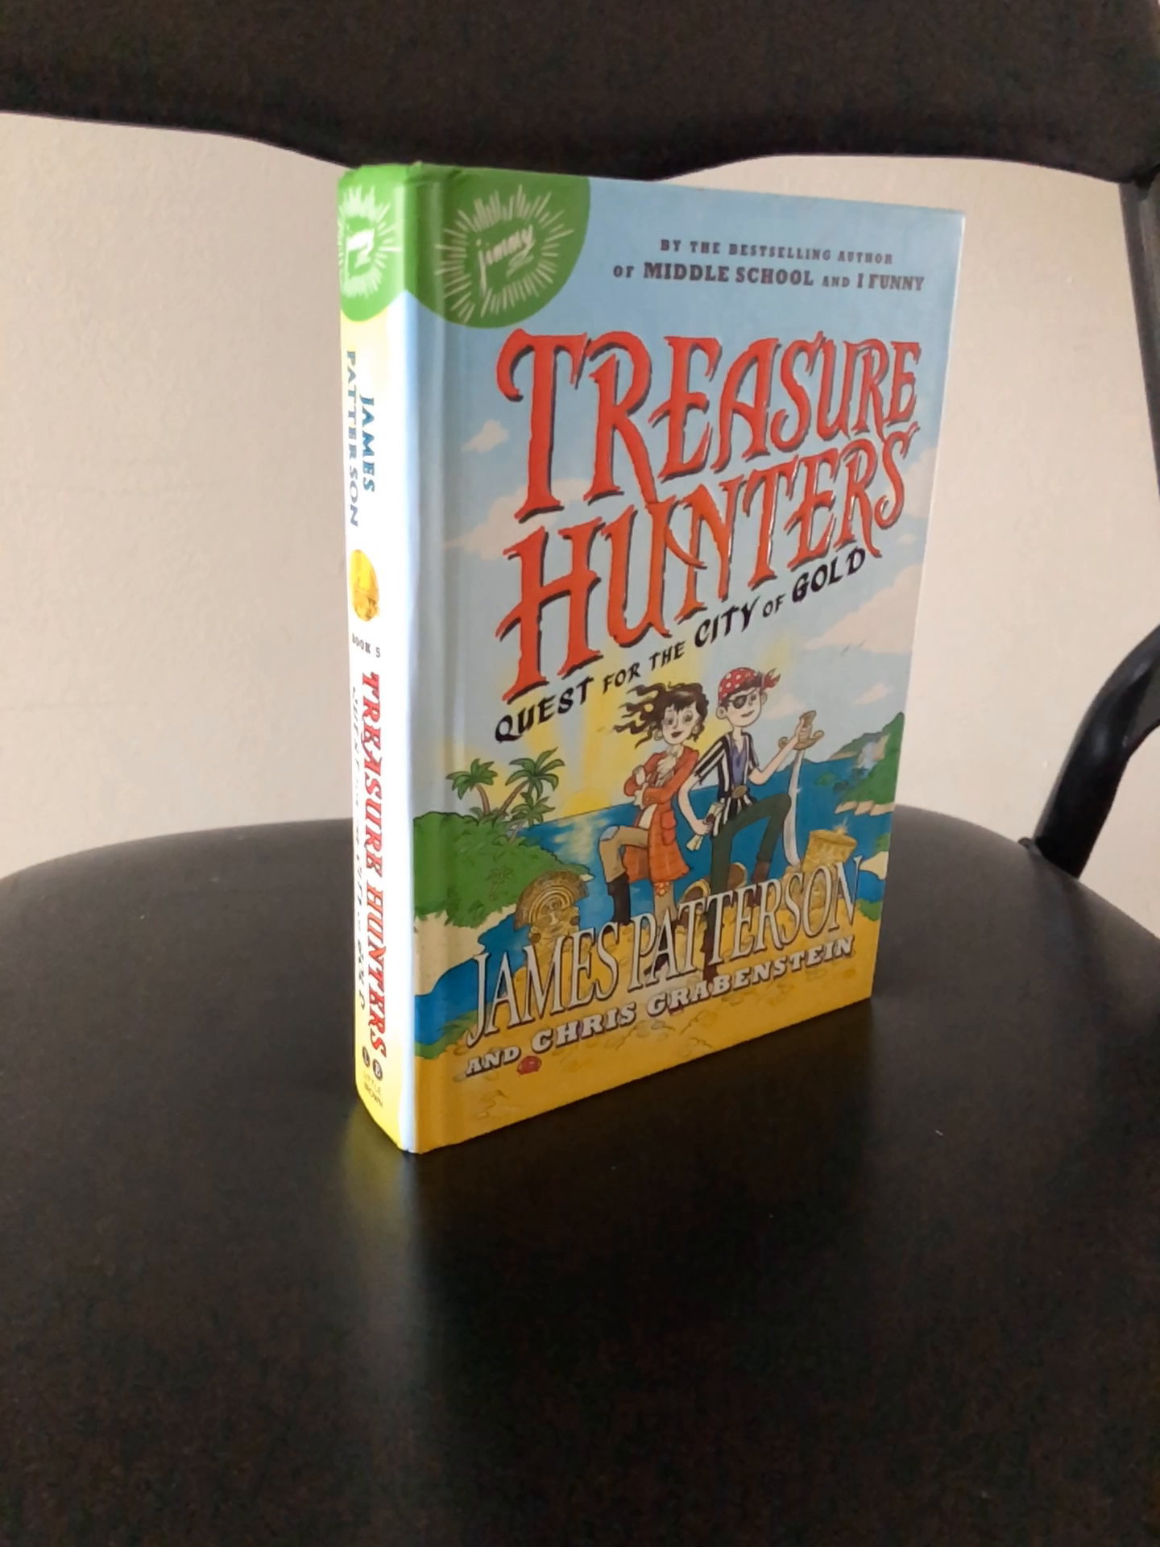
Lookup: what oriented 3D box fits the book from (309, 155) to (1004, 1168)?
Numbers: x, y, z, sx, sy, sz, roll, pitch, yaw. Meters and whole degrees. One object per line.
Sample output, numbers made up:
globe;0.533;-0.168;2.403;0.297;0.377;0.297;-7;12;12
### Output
book;0.018;-0.027;0.317;0.155;0.215;0.040;-11;26;-30
